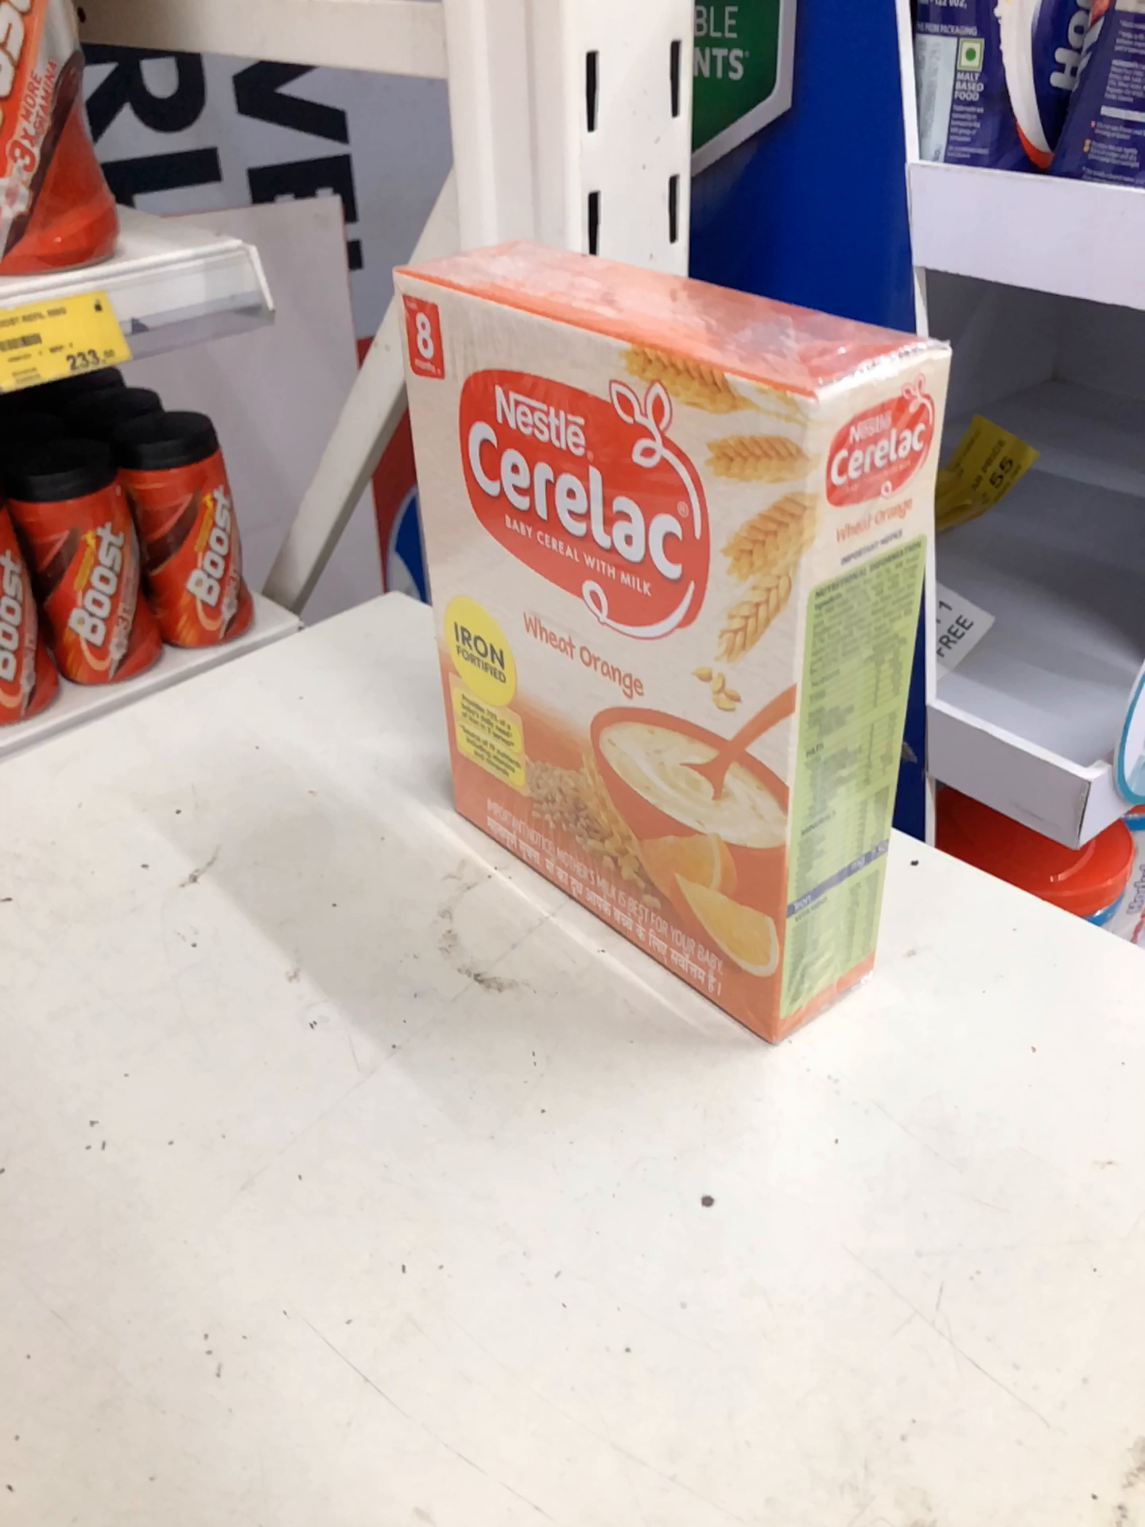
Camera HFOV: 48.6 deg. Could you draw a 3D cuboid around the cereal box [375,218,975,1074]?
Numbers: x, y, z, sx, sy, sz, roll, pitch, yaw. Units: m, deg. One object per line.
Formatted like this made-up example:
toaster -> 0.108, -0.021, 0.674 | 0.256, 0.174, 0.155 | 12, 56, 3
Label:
cereal box -> 0.021, -0.037, 0.368 | 0.050, 0.199, 0.160 | -27, 41, -30
